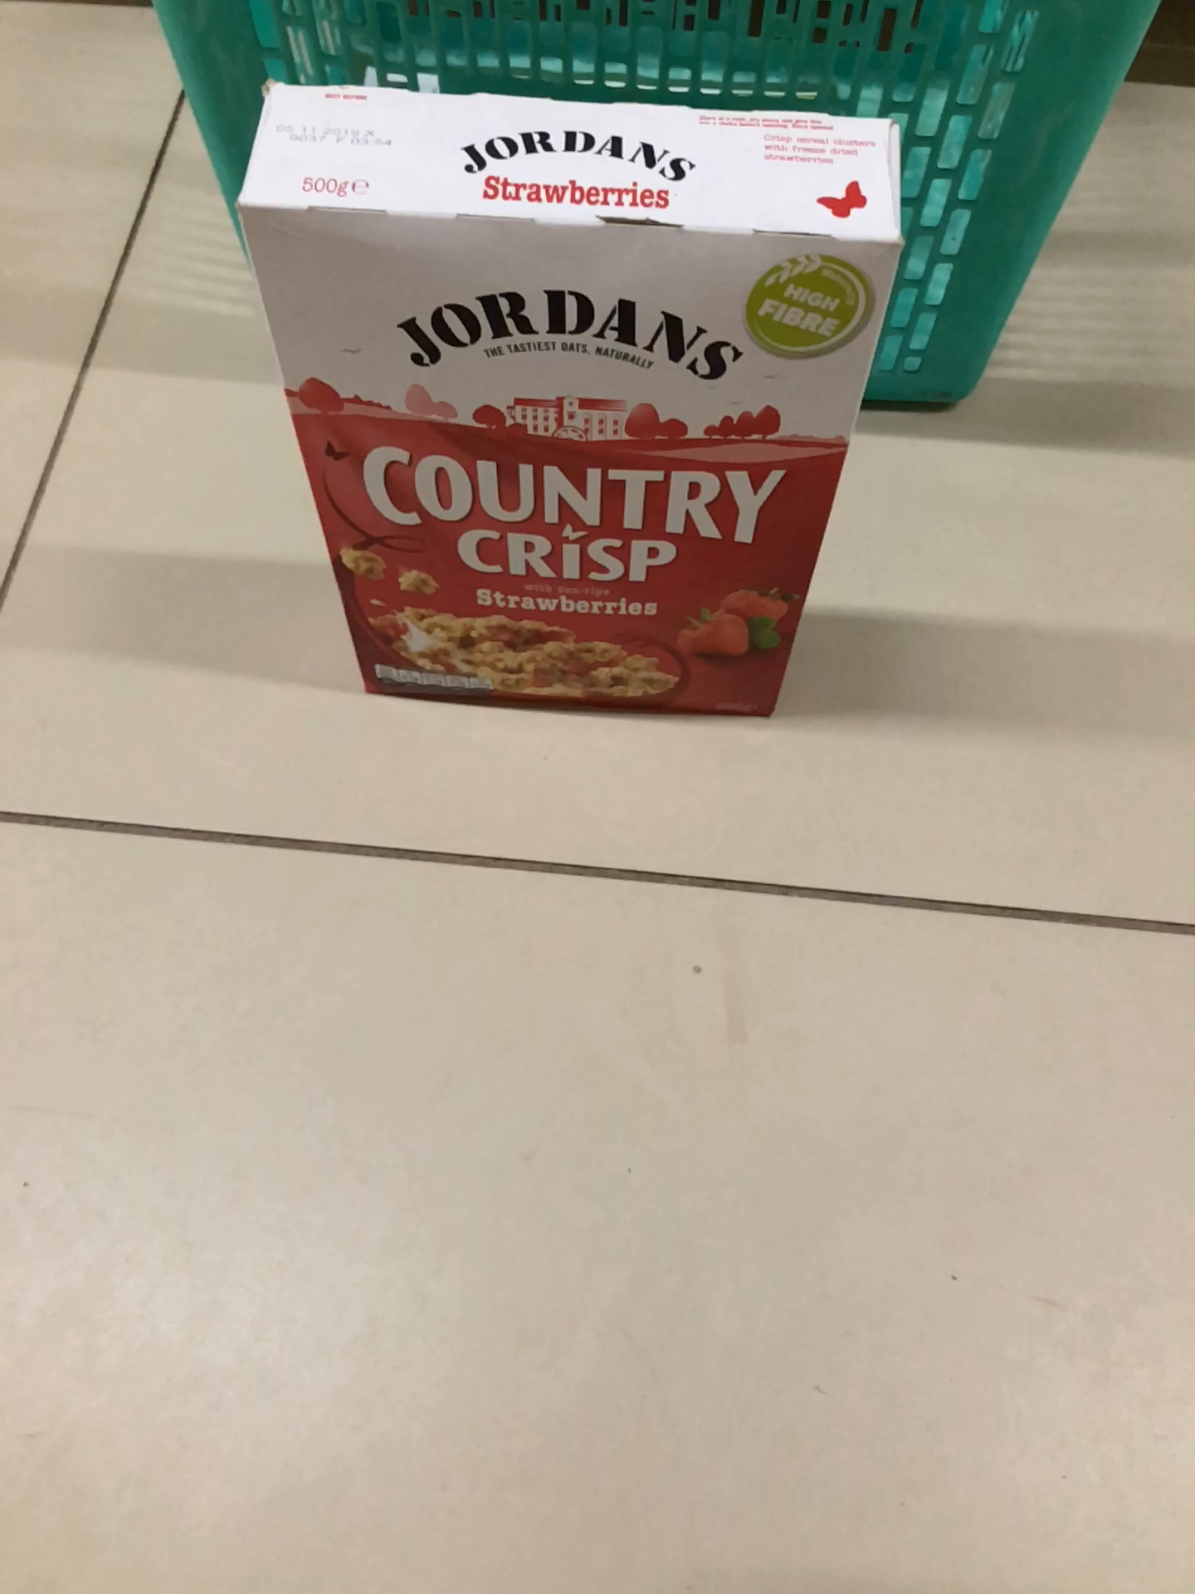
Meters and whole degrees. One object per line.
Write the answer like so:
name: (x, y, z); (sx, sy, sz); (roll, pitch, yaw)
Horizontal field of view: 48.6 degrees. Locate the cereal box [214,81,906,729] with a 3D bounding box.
cereal box: (-0.011, -0.114, 0.465); (0.180, 0.249, 0.050); (3, 62, 0)
